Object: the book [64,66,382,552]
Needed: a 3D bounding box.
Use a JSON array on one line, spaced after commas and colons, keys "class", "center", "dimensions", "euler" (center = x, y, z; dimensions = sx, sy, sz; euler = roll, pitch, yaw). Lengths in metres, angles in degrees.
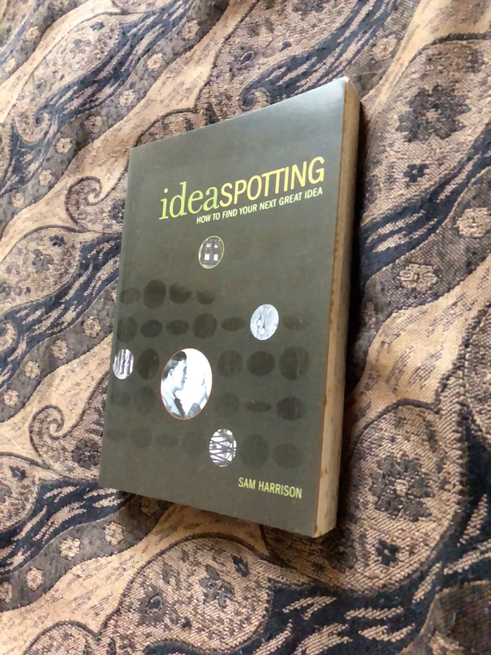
[{"class": "book", "center": [-0.014, -0.007, 0.257], "dimensions": [0.141, 0.040, 0.180], "euler": [-3, 78, 37]}]
